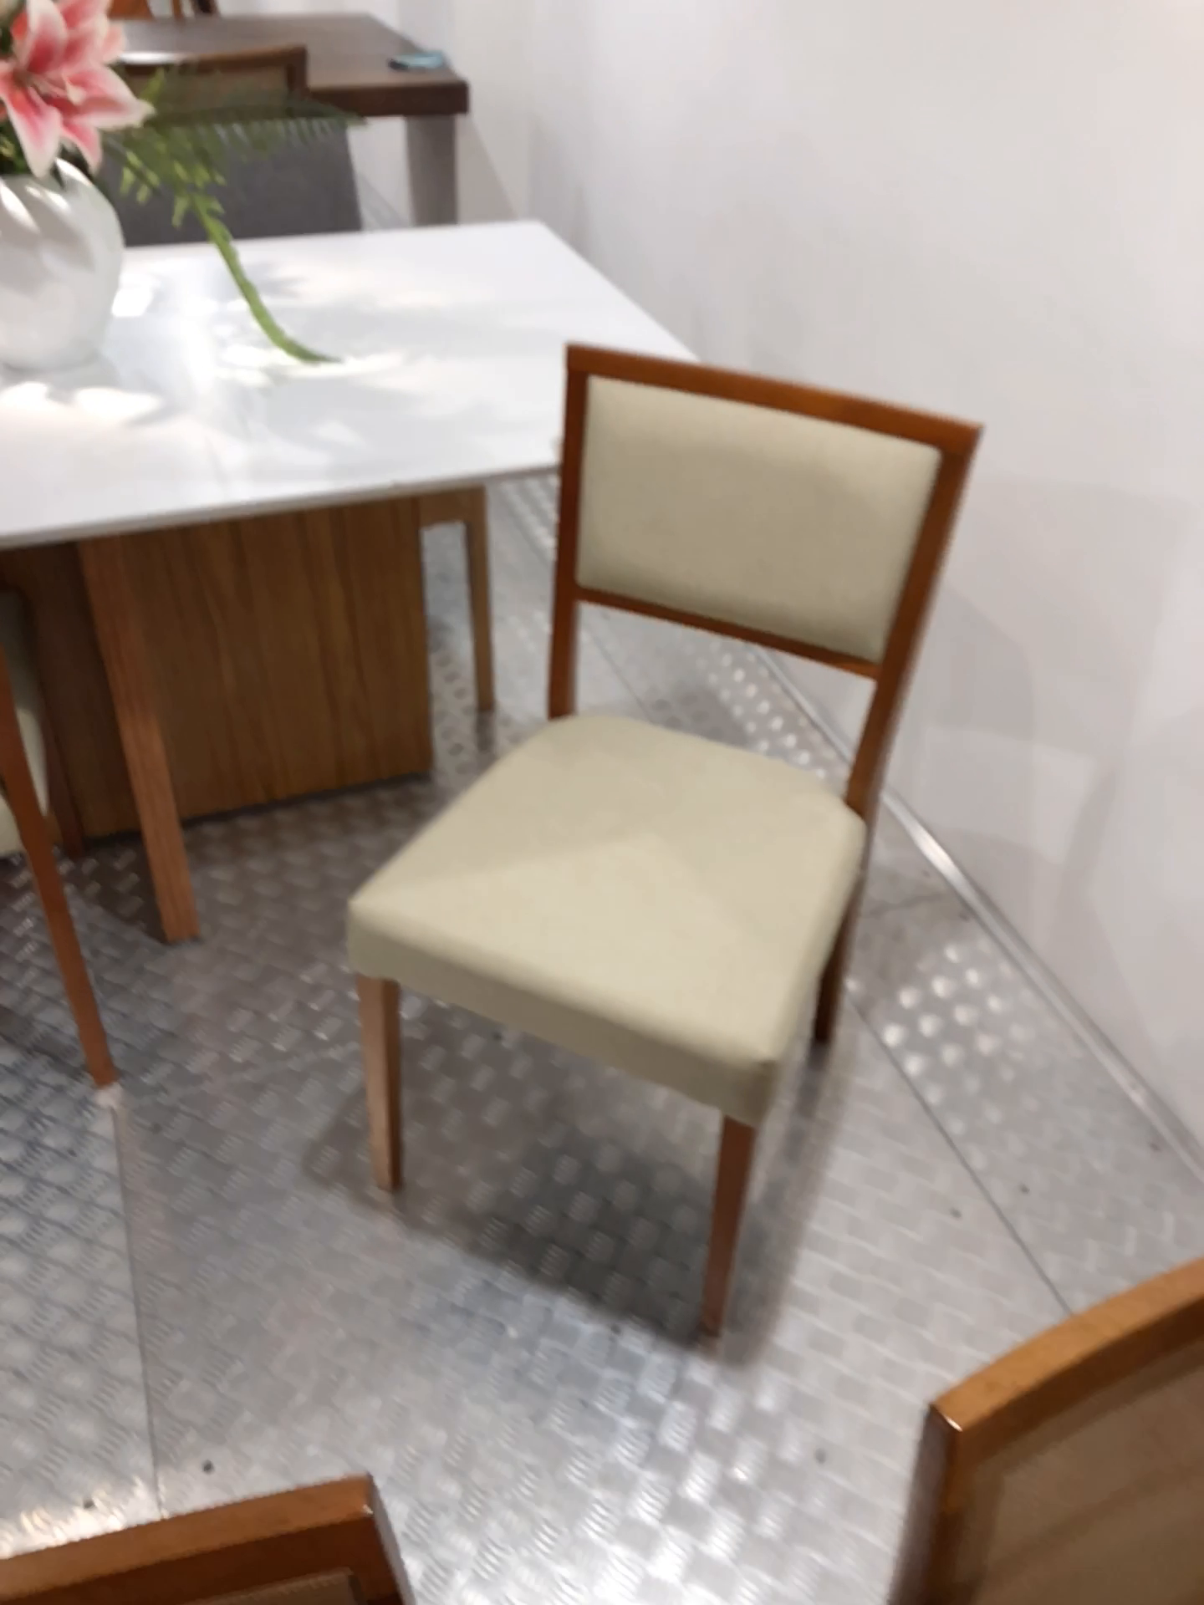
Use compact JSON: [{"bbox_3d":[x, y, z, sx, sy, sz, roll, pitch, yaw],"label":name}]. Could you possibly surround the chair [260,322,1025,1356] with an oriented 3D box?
[{"bbox_3d":[0.064,0.032,1.547,0.521,0.893,0.624,18,41,18],"label":"chair"}]
